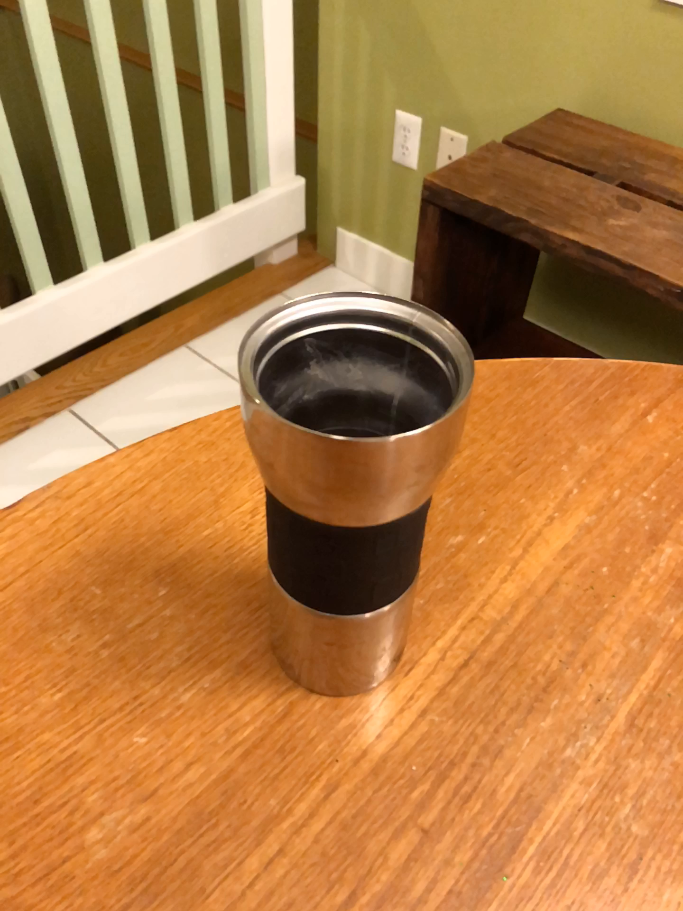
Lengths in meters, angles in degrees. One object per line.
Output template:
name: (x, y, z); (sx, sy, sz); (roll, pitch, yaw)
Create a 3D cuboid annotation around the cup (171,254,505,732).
cup: (-0.001, 0.022, 0.321); (0.083, 0.173, 0.088); (1, 45, -1)
